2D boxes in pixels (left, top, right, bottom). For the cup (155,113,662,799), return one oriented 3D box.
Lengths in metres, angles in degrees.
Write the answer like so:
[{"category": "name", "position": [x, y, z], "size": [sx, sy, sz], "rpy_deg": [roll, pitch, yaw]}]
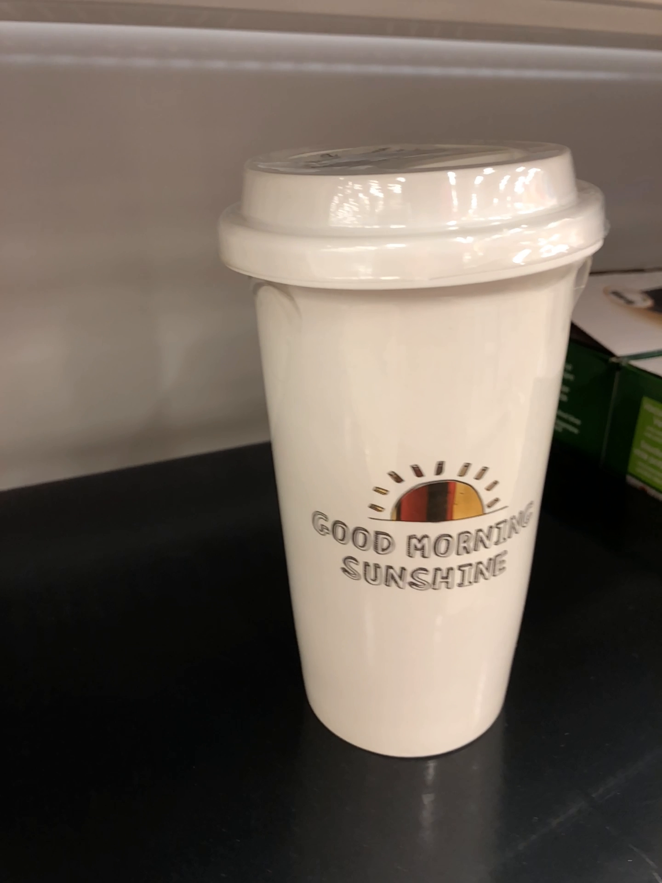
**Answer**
[{"category": "cup", "position": [0.027, -0.007, 0.208], "size": [0.100, 0.149, 0.100], "rpy_deg": [1, 25, 0]}]
